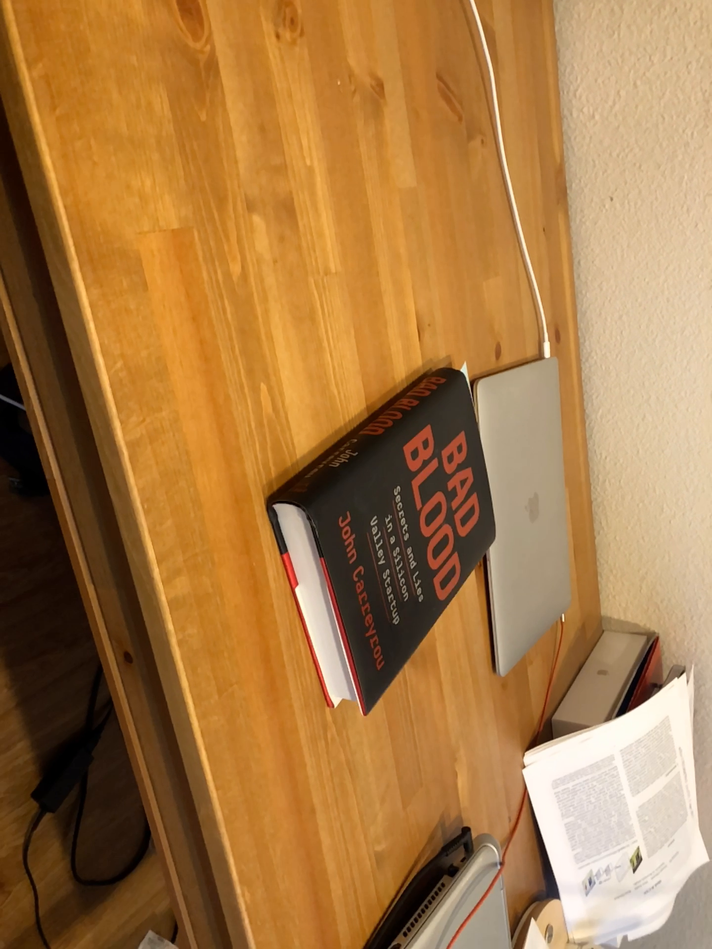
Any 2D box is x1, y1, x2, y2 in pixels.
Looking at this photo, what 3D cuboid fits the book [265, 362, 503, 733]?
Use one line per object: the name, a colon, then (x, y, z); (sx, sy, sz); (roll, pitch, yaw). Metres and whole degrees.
book: (0.040, 0.041, 0.608); (0.251, 0.030, 0.179); (-42, 125, -48)
